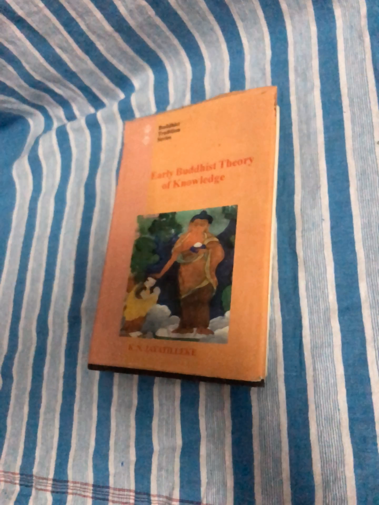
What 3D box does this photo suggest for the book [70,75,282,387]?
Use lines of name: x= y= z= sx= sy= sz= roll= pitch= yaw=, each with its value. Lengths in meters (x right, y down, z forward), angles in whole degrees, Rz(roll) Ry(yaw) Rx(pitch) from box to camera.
book: x=-0.009 y=-0.017 z=0.331 sx=0.150 sy=0.030 sz=0.220 roll=-3 pitch=72 yaw=28
